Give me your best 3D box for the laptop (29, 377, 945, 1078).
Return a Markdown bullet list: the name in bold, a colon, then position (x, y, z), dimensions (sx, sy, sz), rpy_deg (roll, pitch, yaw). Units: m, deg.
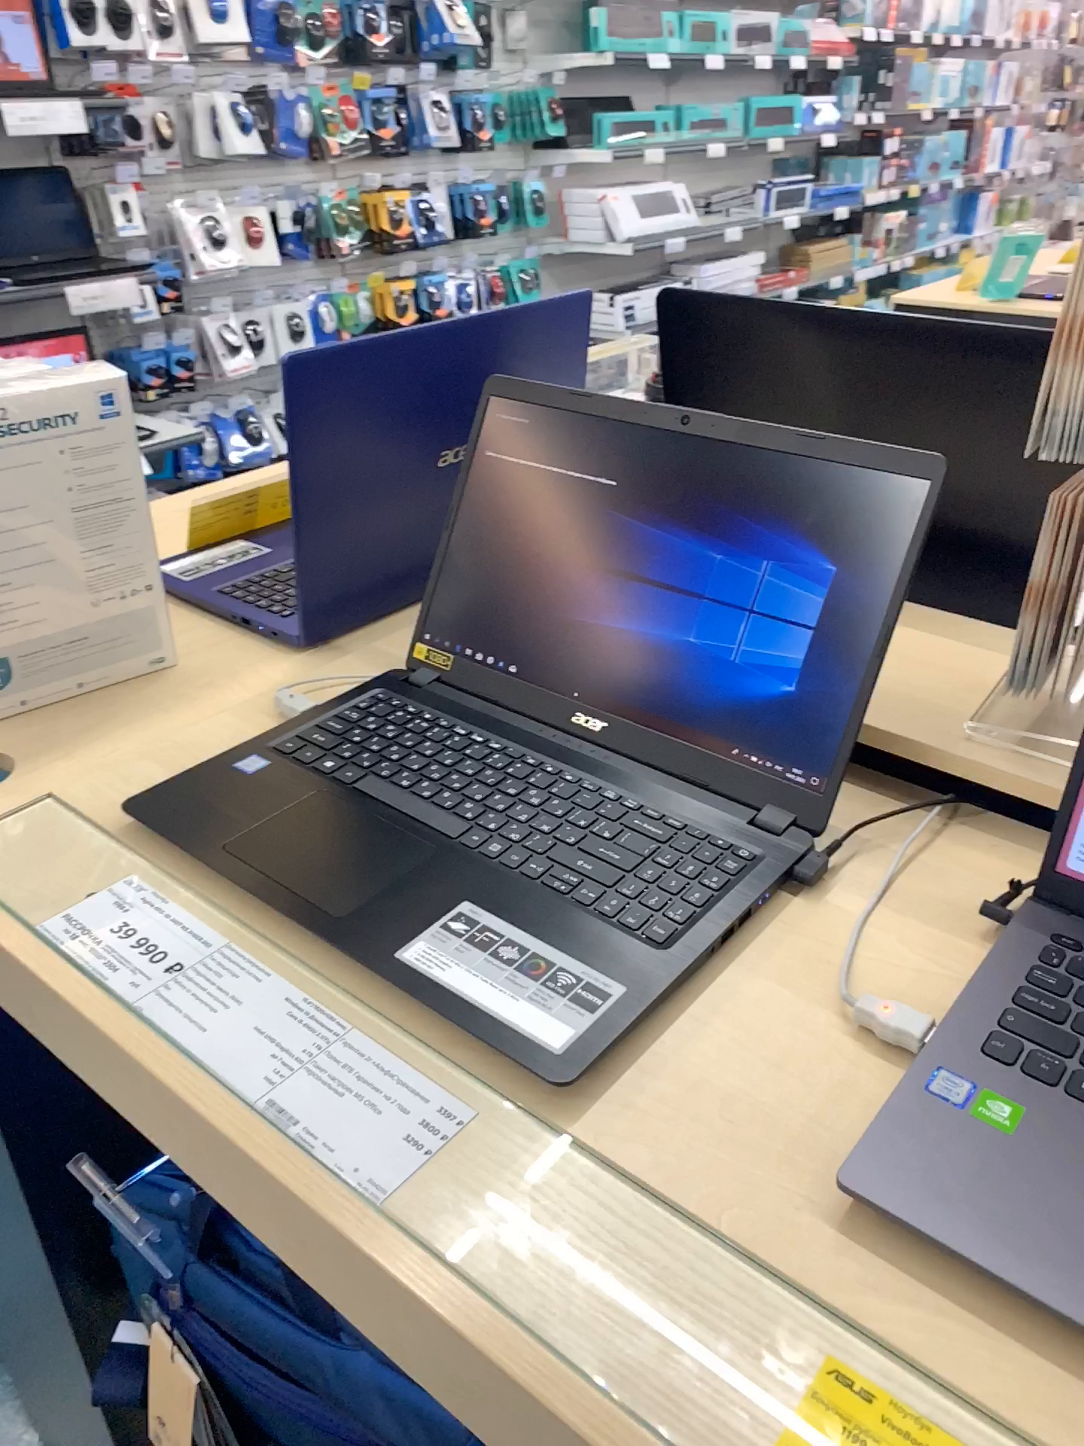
- **laptop**: position (-0.021, -0.053, 0.707), dimensions (0.377, 0.216, 0.376), rpy_deg (21, 36, 33)
